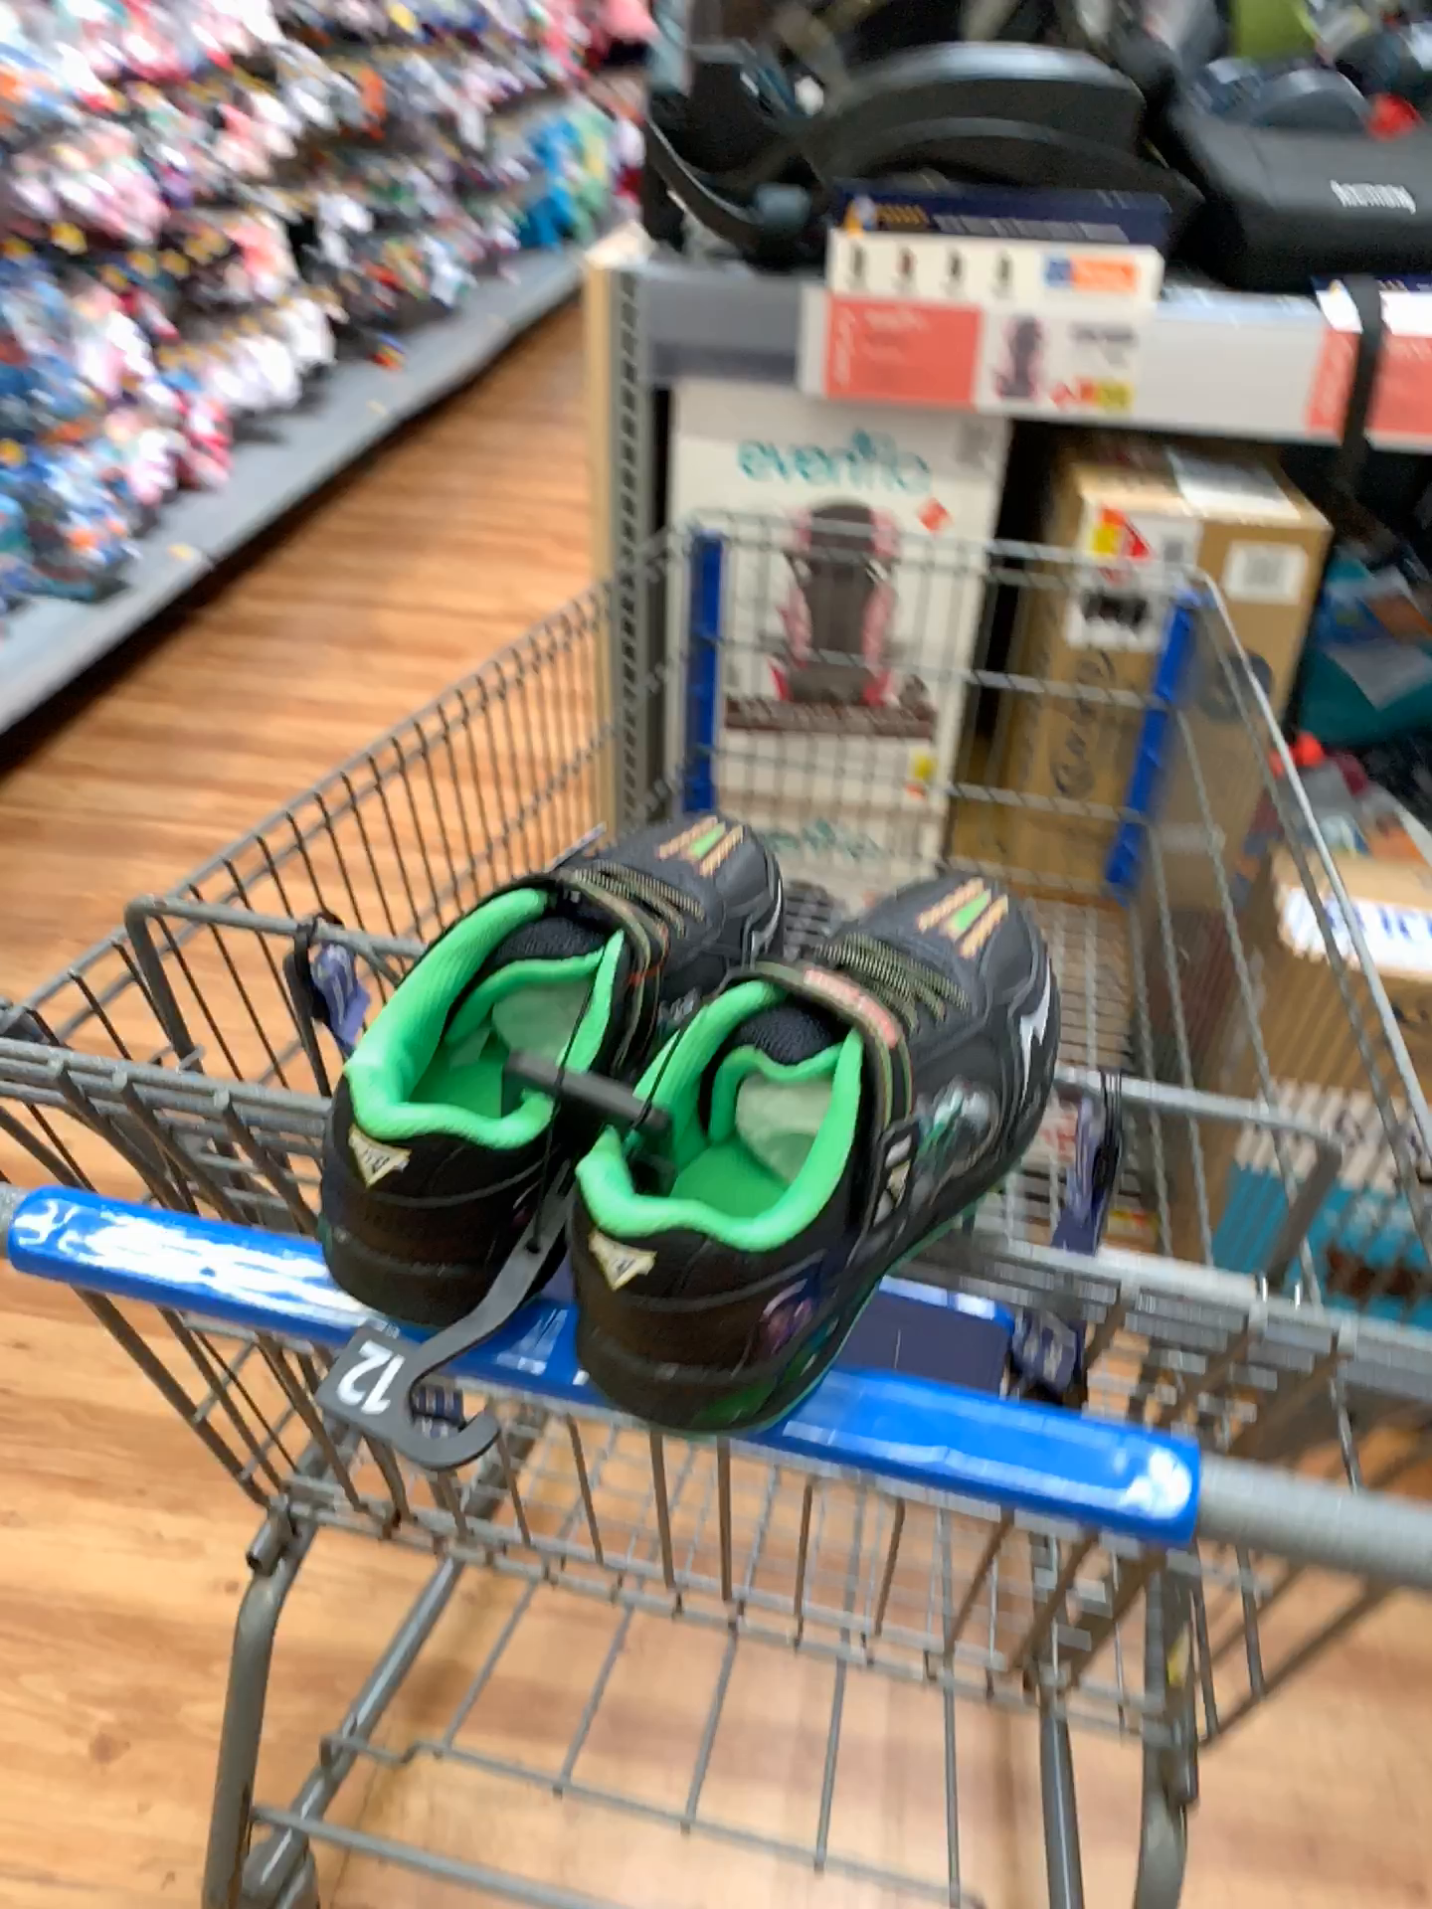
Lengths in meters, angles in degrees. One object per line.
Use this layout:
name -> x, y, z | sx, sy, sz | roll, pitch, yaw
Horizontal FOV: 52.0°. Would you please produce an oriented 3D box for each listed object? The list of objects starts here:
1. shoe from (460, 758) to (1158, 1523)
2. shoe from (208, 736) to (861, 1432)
shoe -> 0.036, 0.034, 0.416 | 0.089, 0.086, 0.214 | 22, 39, 26
shoe -> -0.041, 0.024, 0.446 | 0.095, 0.093, 0.195 | 18, 37, 21
